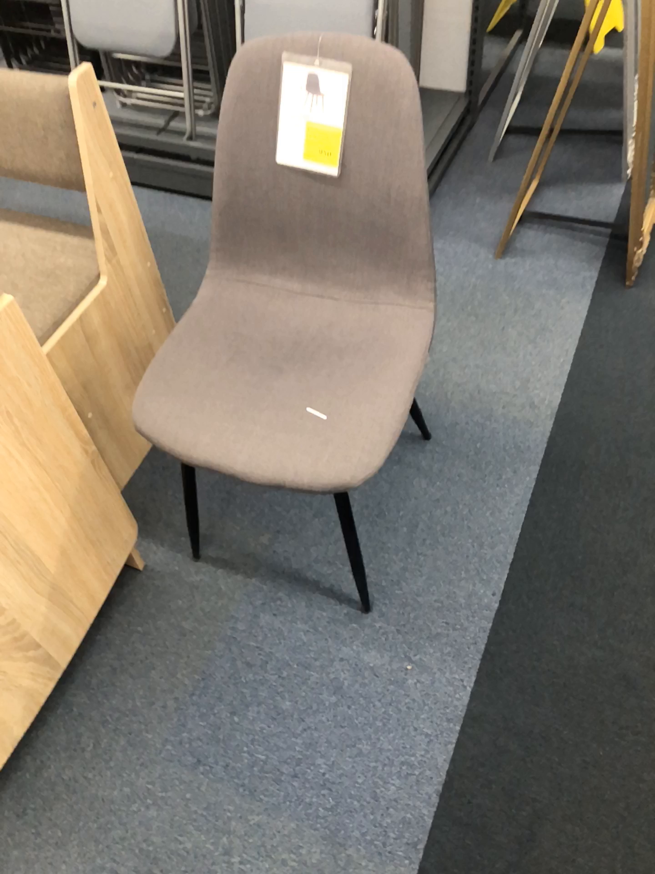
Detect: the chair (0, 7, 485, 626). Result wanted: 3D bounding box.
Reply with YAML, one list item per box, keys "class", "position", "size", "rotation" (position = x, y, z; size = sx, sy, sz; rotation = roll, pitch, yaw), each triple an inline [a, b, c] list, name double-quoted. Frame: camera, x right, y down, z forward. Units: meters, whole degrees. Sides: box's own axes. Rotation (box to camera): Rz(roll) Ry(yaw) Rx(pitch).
- class: "chair"
  position: [-0.070, -0.162, 1.222]
  size: [0.480, 0.807, 0.541]
  rotation: [14, 54, 16]
